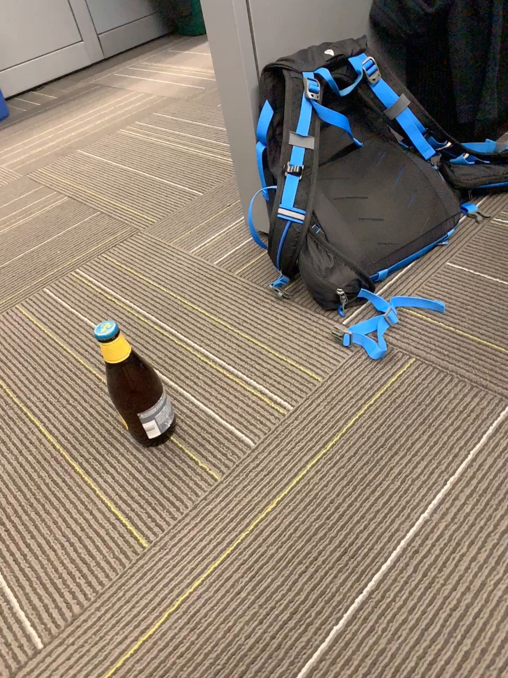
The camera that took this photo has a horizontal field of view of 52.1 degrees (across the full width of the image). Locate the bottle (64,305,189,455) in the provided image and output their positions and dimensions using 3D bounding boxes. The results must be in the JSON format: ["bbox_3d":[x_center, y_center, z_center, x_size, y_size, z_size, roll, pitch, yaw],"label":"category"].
[{"bbox_3d":[-0.151,0.054,0.647,0.070,0.179,0.070,-7,42,7],"label":"bottle"}]
